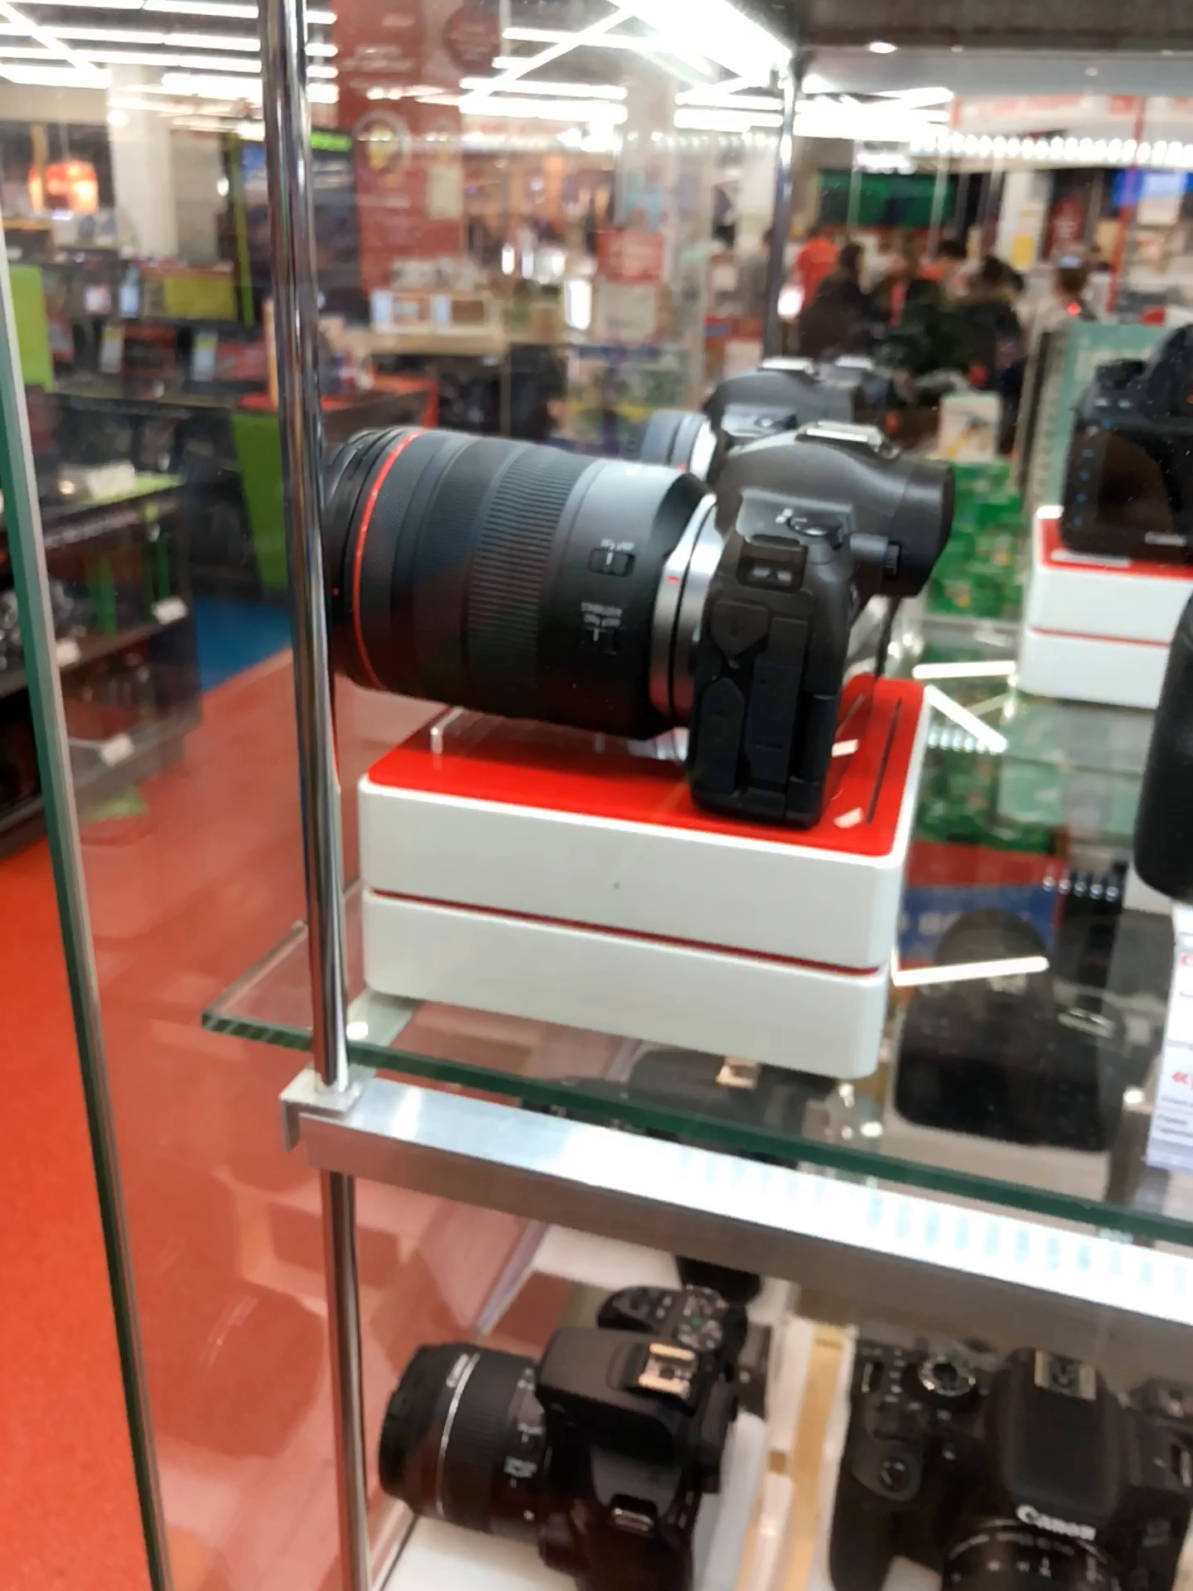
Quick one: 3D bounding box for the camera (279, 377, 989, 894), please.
[{"bbox_3d":[0.019,-0.064,0.425,0.183,0.110,0.141,9,24,16],"label":"camera"}]
